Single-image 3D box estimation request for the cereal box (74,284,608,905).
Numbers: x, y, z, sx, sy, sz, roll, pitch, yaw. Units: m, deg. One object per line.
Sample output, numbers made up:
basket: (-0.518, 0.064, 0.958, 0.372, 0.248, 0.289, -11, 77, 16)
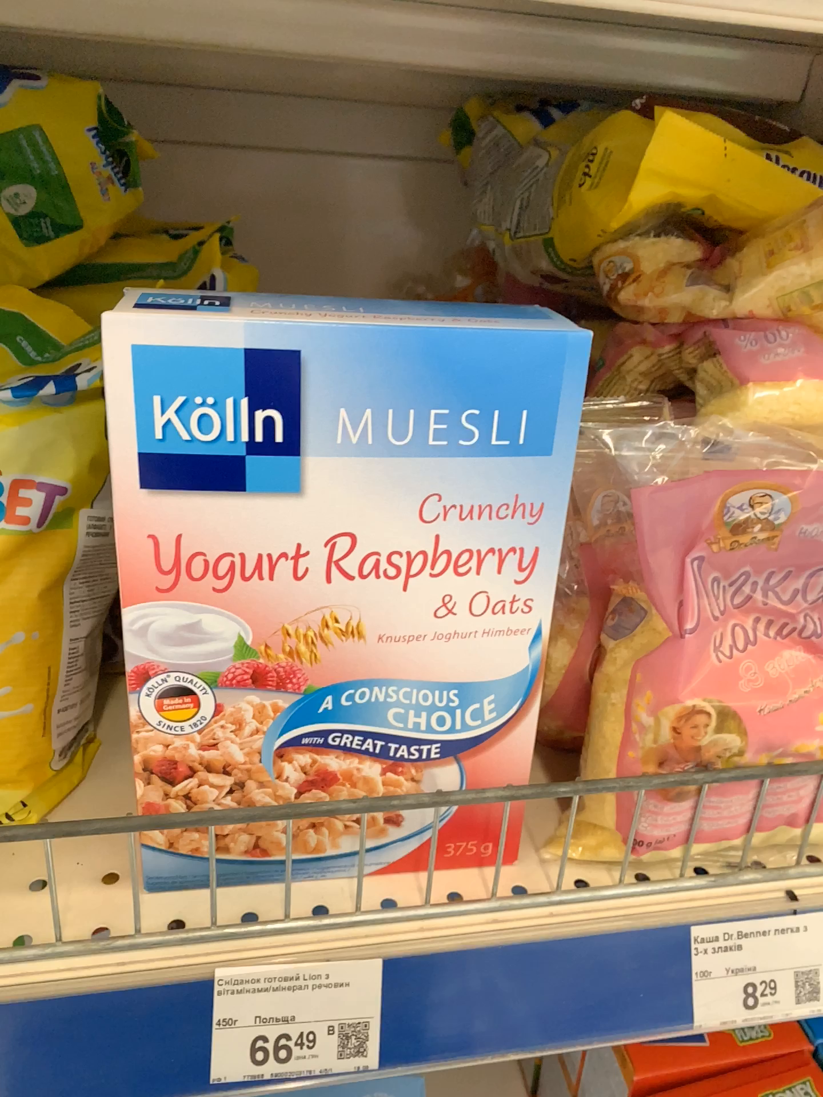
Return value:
cereal box: (-0.027, 0.020, 0.308, 0.150, 0.208, 0.060, 0, 24, -10)
